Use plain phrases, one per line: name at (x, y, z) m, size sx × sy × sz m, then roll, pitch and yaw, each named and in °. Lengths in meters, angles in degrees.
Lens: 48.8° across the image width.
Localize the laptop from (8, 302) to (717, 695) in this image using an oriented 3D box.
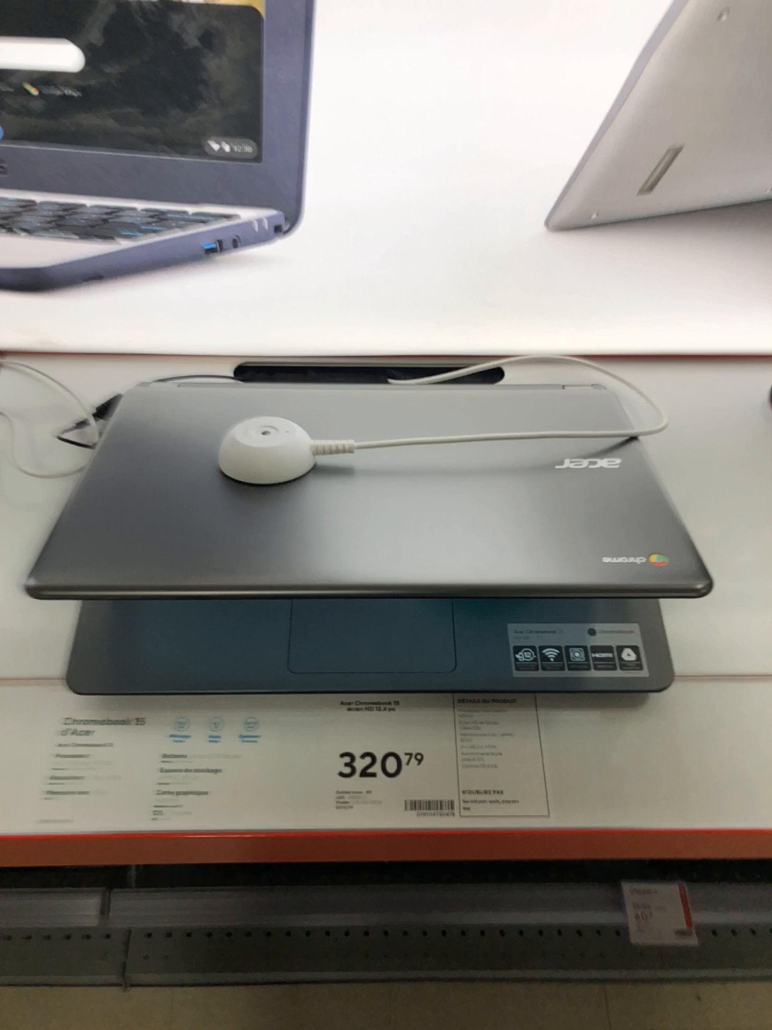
laptop at (-0.015, -0.019, 0.552) m, size 0.369 × 0.088 × 0.249 m, roll 0°, pitch 54°, yaw -1°
